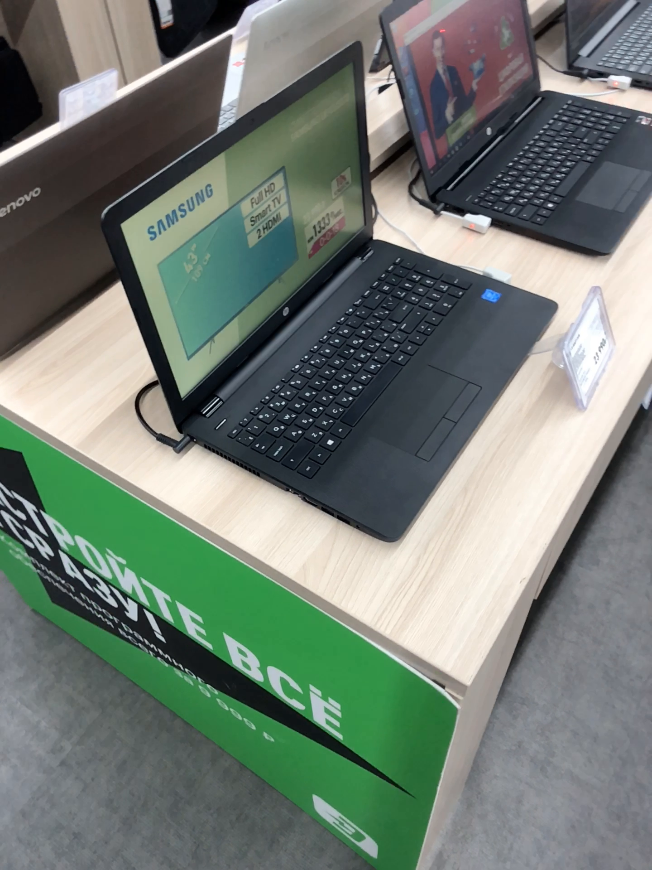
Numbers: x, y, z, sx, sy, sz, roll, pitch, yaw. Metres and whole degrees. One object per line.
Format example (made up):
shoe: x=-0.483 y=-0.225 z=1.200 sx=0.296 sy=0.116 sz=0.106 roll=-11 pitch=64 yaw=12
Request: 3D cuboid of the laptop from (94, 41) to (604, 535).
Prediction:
laptop: x=0.040 y=-0.161 z=0.681 sx=0.273 sy=0.222 sz=0.363 roll=26 pitch=54 yaw=21
